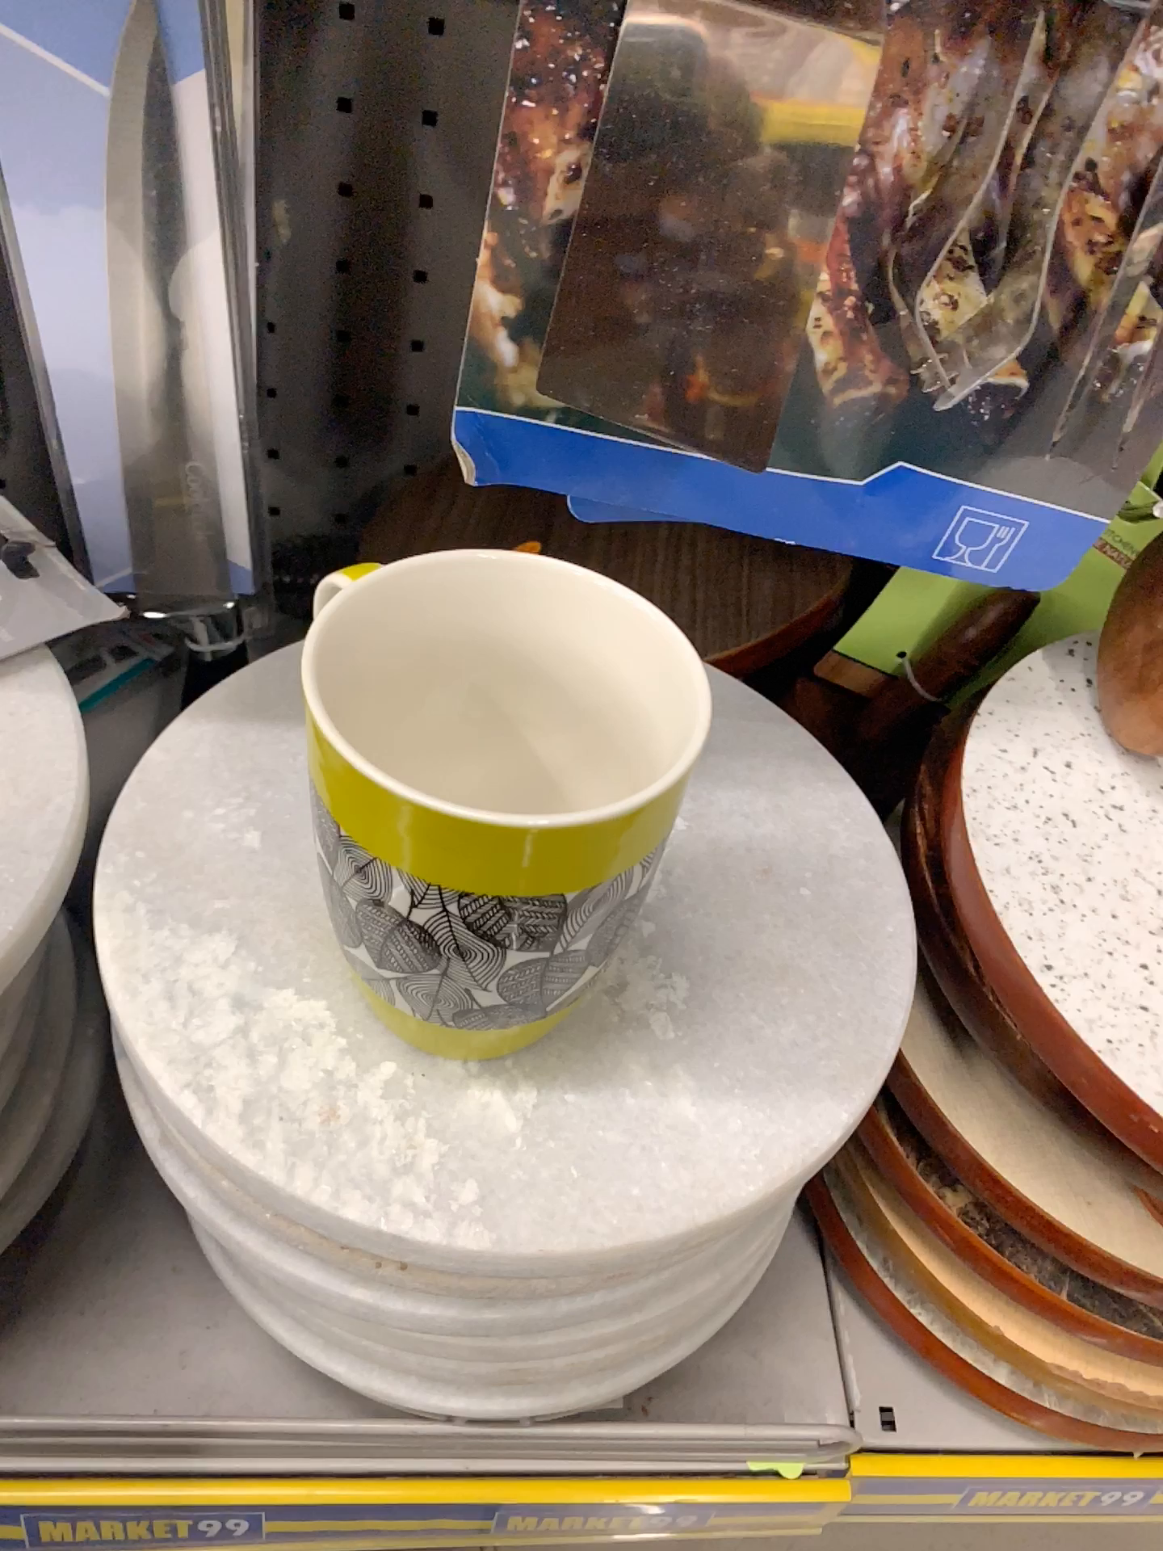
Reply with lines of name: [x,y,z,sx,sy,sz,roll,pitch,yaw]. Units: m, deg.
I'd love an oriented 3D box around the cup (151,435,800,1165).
cup: [-0.030,0.001,0.264,0.080,0.090,0.110,-22,55,-29]
